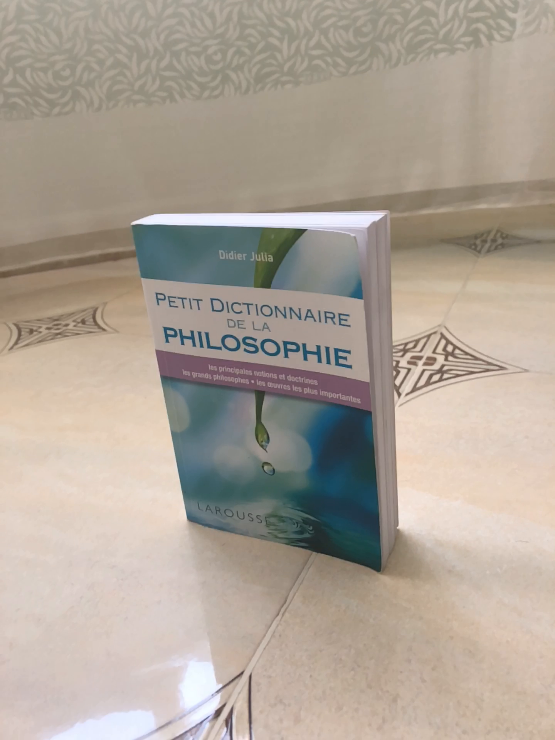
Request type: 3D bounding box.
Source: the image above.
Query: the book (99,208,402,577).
[{"bbox_3d":[-0.009,0.011,0.329,0.140,0.185,0.034,7,29,27],"label":"book"}]
